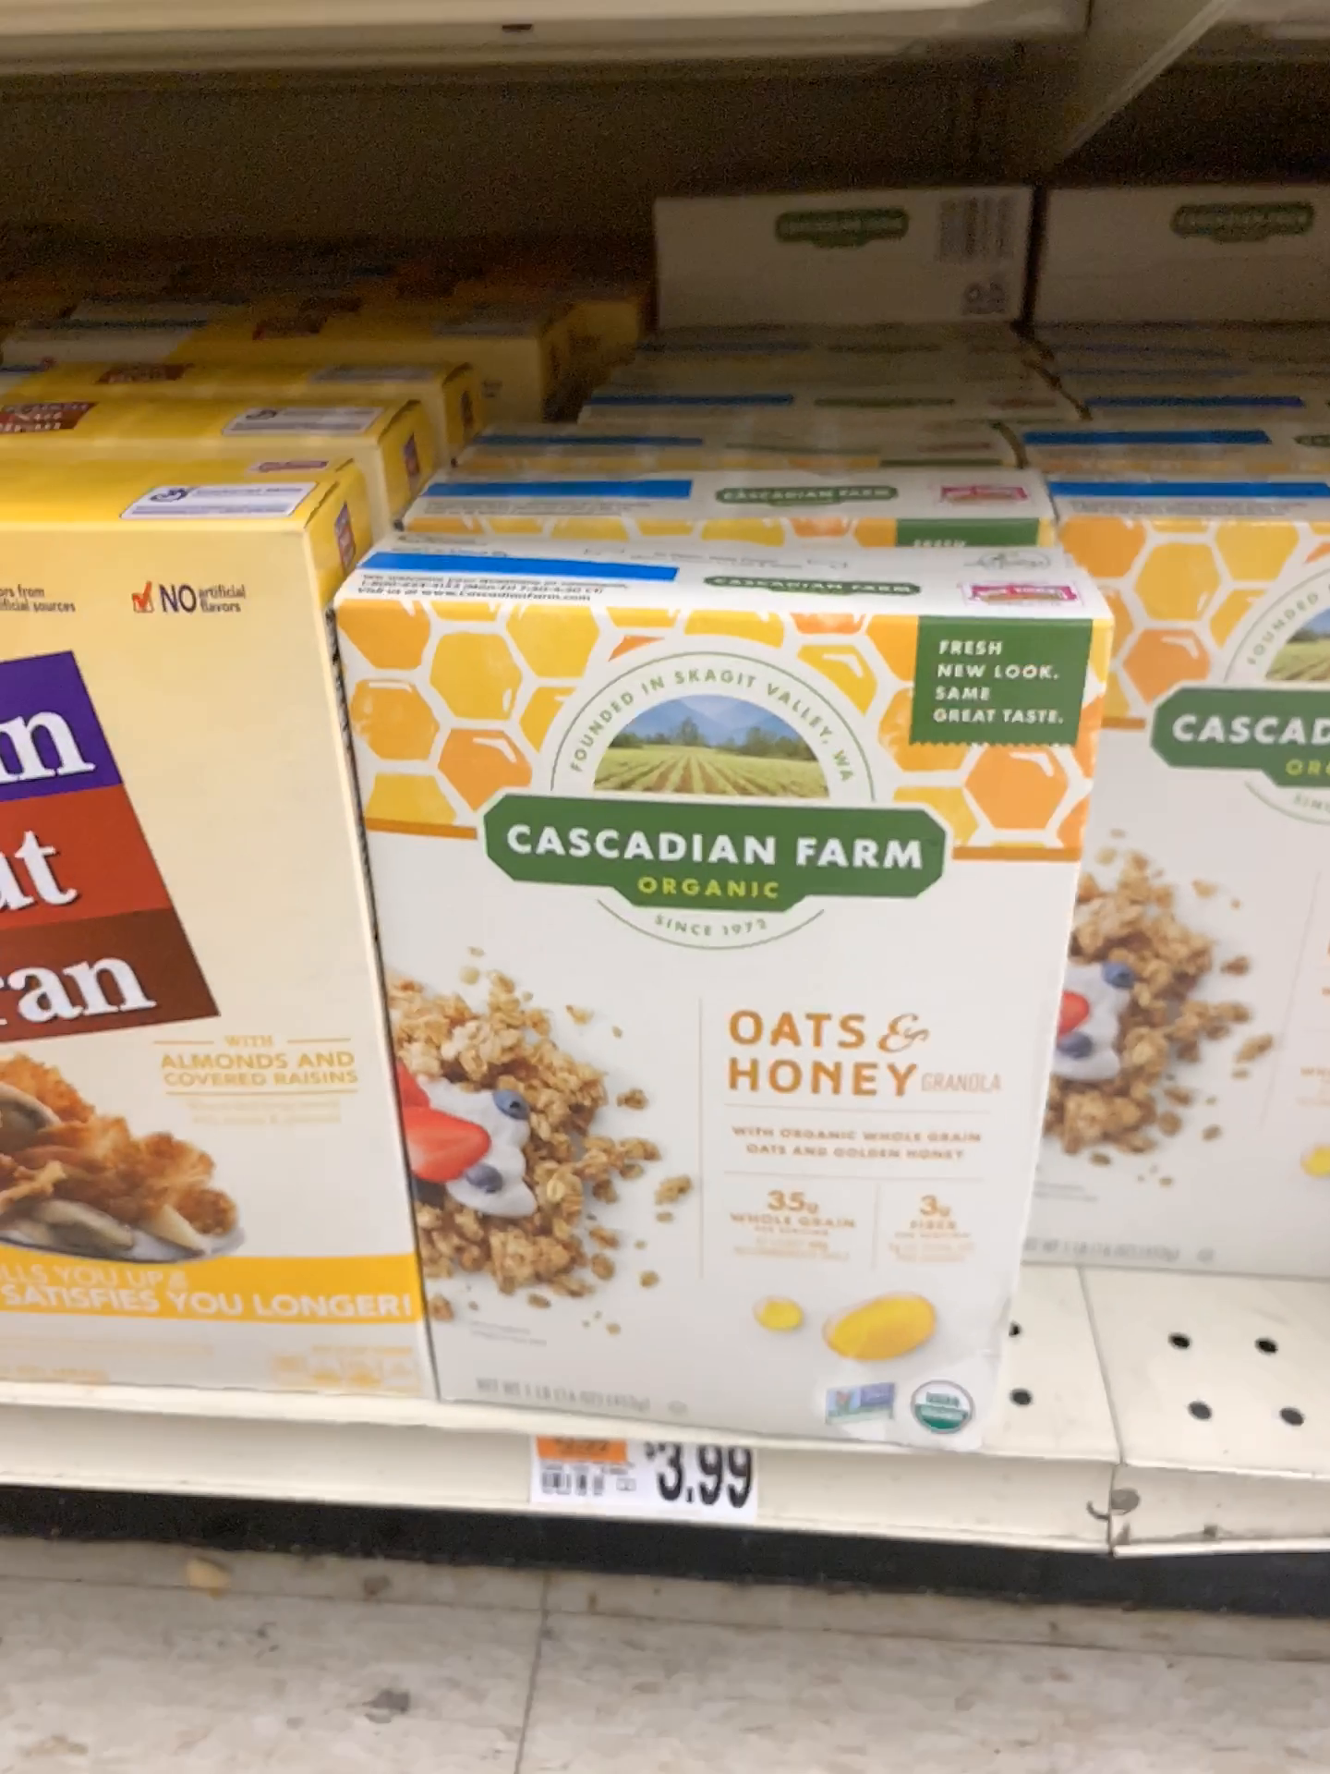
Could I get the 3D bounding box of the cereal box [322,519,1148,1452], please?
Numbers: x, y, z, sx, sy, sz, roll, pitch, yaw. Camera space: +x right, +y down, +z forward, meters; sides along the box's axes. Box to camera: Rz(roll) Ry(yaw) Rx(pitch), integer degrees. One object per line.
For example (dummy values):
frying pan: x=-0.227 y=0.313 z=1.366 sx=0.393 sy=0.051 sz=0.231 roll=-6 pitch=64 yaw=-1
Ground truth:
cereal box: x=0.016 y=0.031 z=0.348 sx=0.160 sy=0.229 sz=0.060 roll=3 pitch=29 yaw=7
